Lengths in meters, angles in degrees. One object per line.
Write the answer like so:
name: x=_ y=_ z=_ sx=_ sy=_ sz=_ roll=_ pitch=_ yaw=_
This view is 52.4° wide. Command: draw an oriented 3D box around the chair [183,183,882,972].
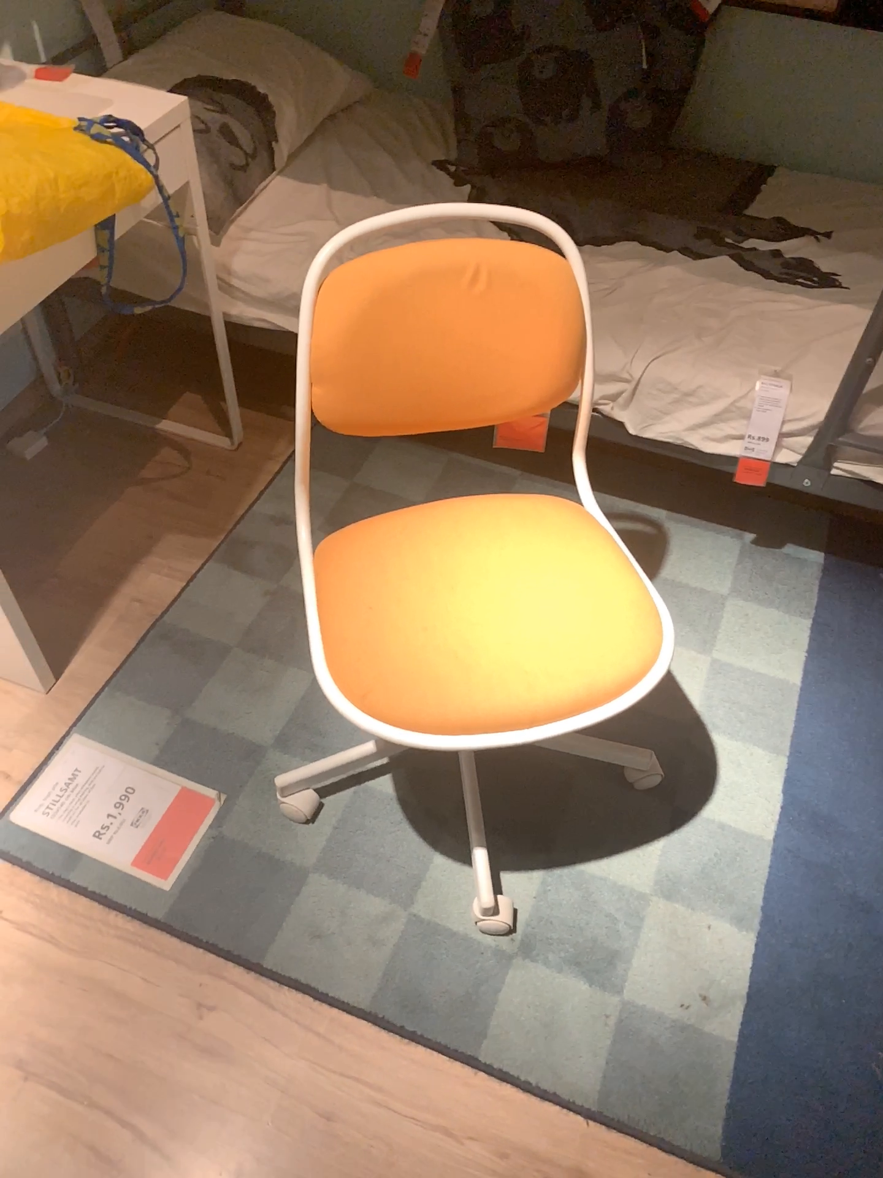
chair: x=0.056 y=-0.004 z=1.149 sx=0.610 sy=0.708 sz=0.652 roll=-6 pitch=50 yaw=-7
